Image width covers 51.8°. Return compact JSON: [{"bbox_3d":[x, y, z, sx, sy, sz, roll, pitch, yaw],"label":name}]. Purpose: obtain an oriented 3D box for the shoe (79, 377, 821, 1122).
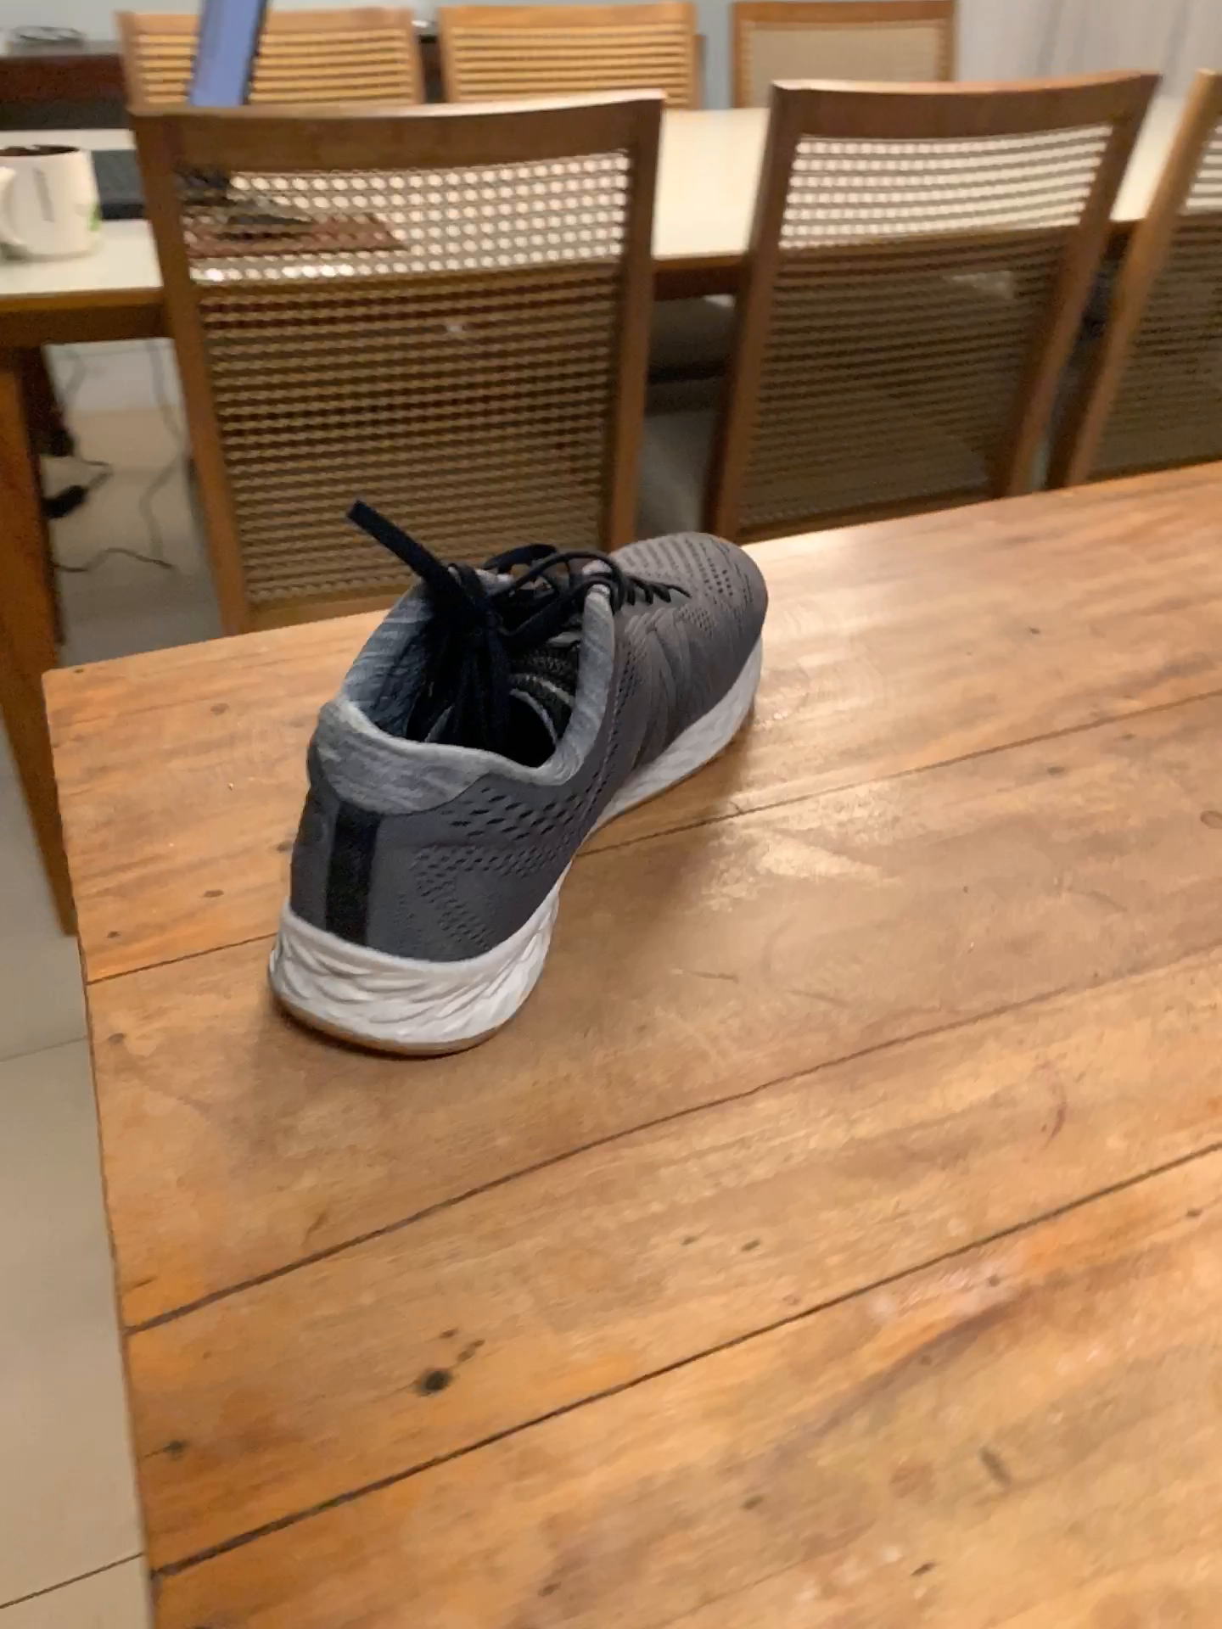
[{"bbox_3d":[-0.026,-0.052,0.450,0.110,0.109,0.301,15,38,19],"label":"shoe"}]
